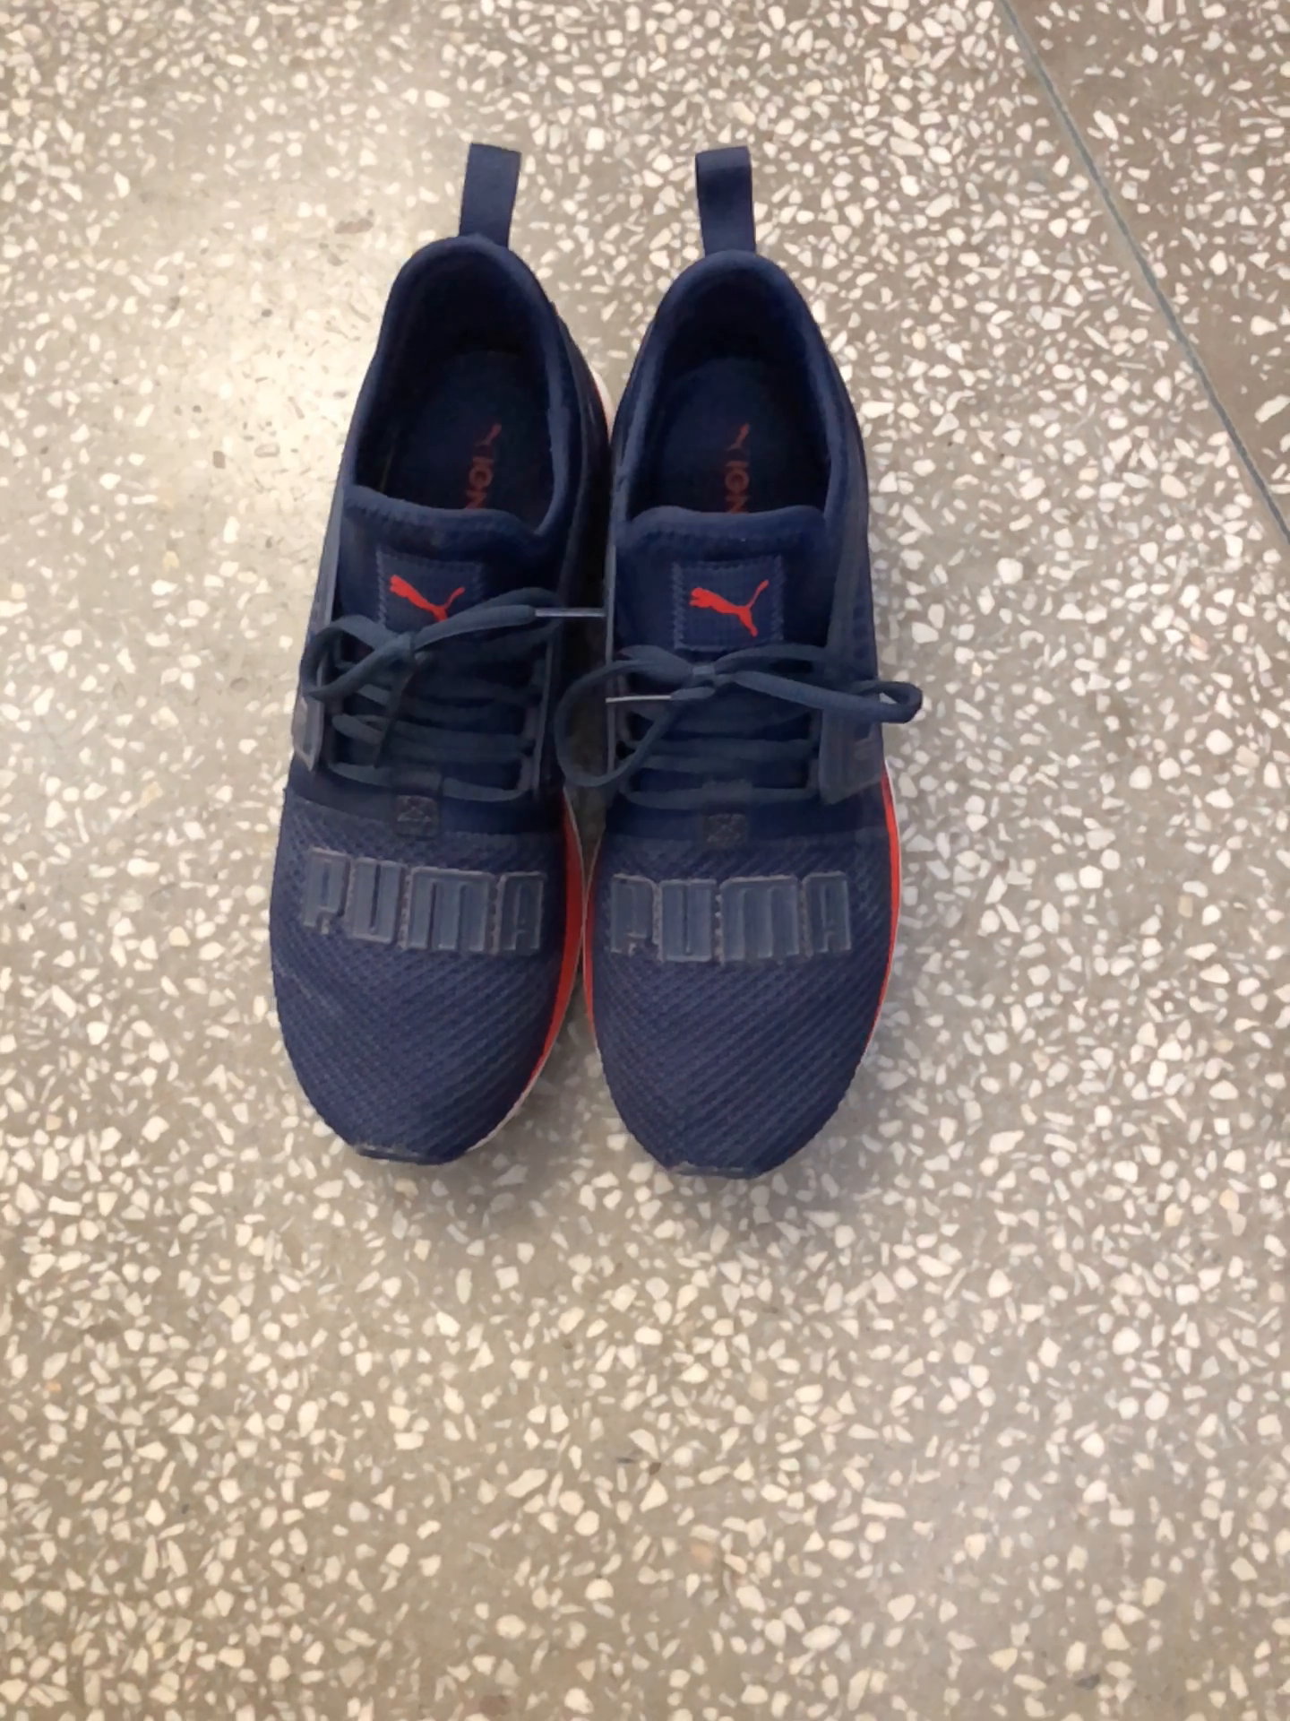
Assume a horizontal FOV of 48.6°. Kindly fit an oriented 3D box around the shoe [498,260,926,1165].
[{"bbox_3d":[0.023,-0.031,0.414,0.100,0.120,0.230,-1,79,7],"label":"shoe"}]

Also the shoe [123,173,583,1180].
[{"bbox_3d":[-0.073,-0.047,0.417,0.100,0.100,0.270,0,79,1],"label":"shoe"}]
